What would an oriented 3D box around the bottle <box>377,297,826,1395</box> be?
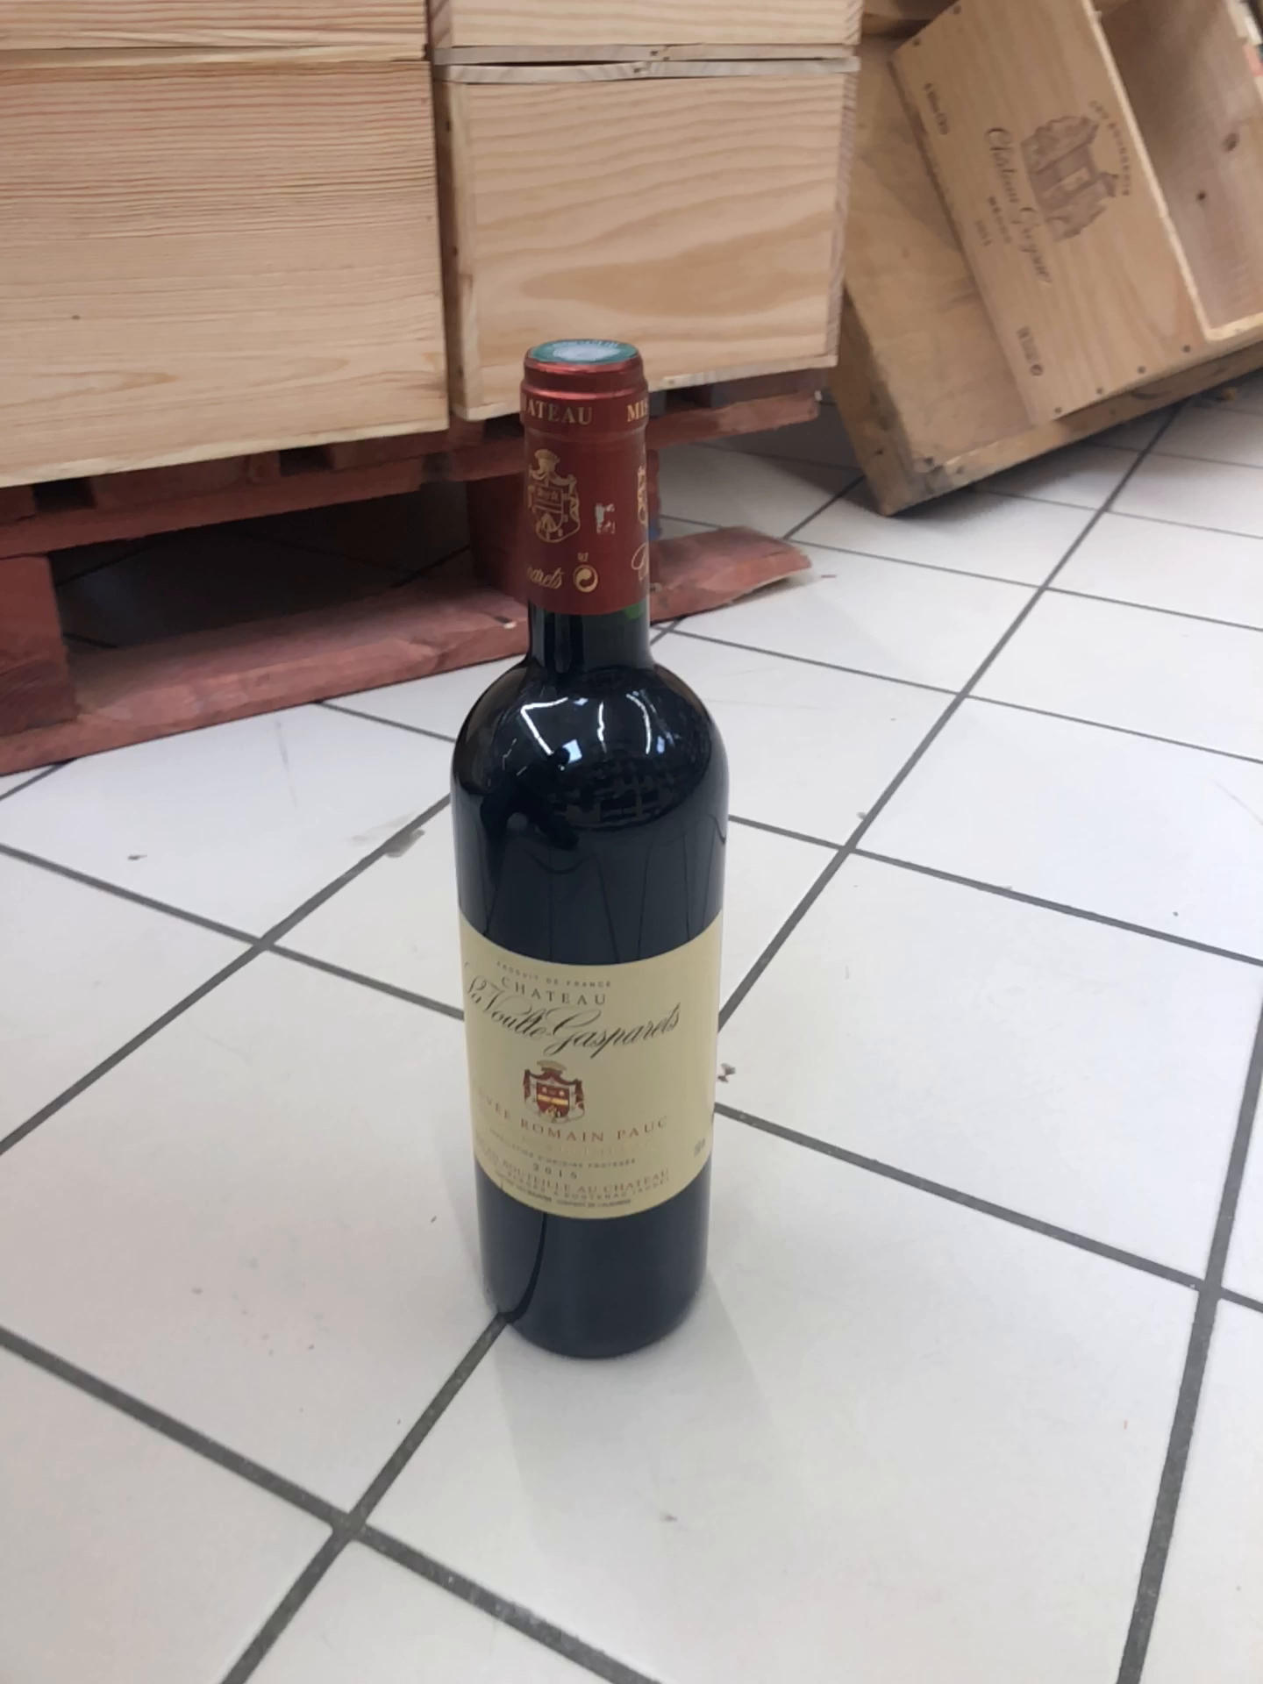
[{"bbox_3d":[-0.005,0.013,0.383,0.080,0.288,0.091,8,32,11],"label":"bottle"}]
